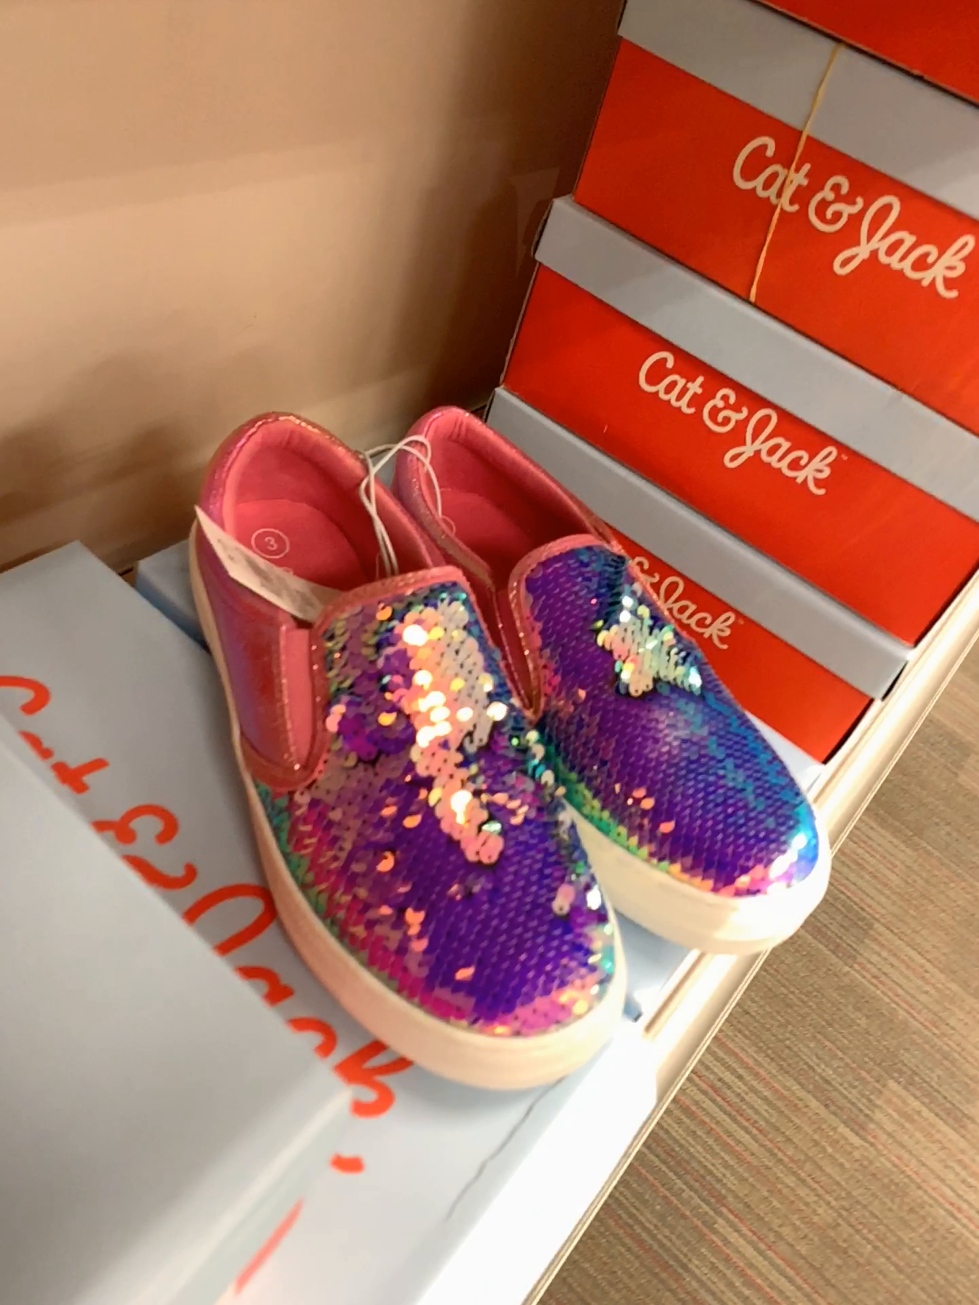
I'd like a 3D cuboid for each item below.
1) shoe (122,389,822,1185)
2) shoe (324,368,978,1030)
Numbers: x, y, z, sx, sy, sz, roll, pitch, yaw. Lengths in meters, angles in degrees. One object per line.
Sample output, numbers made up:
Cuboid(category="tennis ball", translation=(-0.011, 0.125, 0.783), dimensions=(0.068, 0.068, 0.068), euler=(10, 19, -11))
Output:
Cuboid(category="shoe", translation=(-0.023, 0.020, 0.297), dimensions=(0.100, 0.074, 0.210), euler=(-17, 56, -31))
Cuboid(category="shoe", translation=(0.045, 0.001, 0.339), dimensions=(0.090, 0.074, 0.210), euler=(-24, 60, -35))
